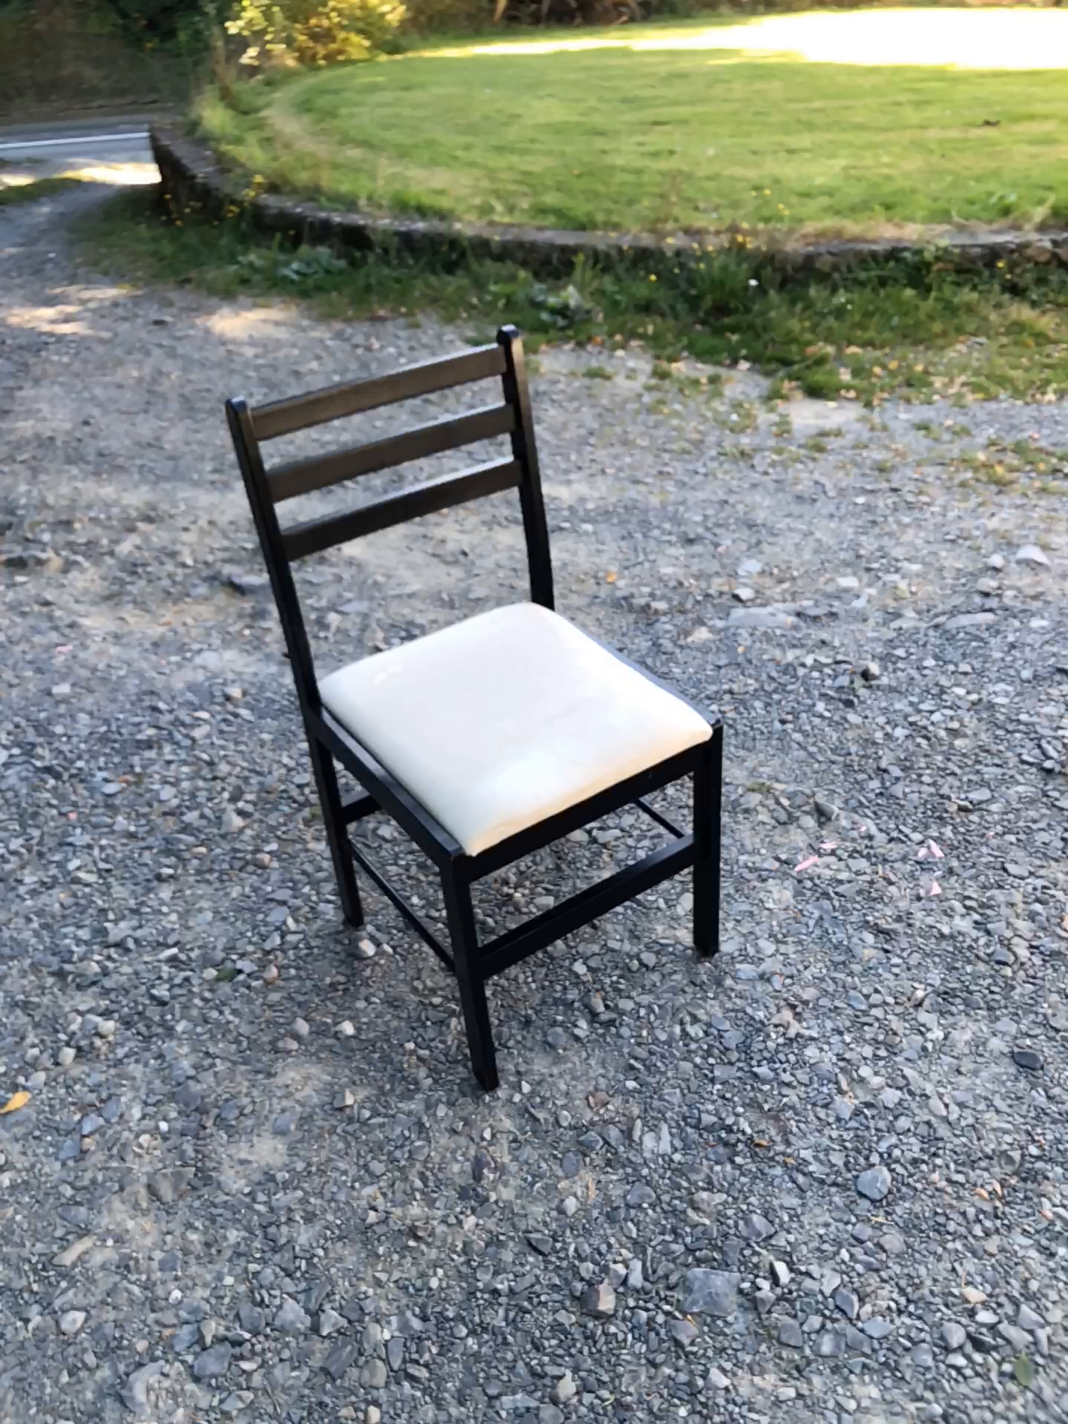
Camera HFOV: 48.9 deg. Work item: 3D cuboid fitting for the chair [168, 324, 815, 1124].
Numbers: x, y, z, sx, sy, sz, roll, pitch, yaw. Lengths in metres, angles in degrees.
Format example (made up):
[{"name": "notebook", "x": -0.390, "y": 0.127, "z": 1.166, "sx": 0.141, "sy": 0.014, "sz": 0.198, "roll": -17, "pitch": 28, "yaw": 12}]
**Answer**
[{"name": "chair", "x": -0.054, "y": -0.016, "z": 1.571, "sx": 0.542, "sy": 0.775, "sz": 0.531, "roll": -24, "pitch": 40, "yaw": -30}]
